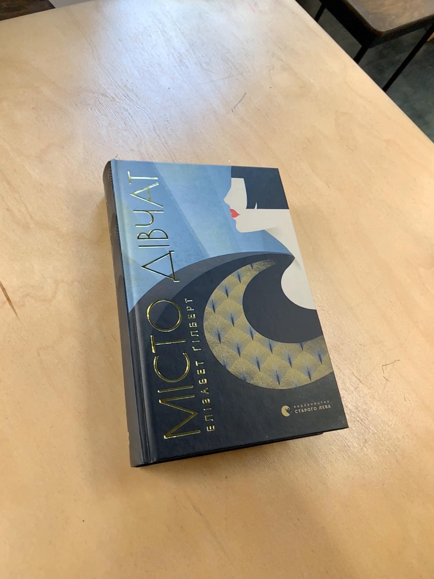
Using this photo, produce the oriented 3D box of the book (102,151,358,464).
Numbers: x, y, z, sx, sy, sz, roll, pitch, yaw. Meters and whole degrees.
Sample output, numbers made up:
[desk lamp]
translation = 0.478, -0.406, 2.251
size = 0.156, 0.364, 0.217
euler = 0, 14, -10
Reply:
[book]
translation = 0.000, 0.002, 0.307
size = 0.134, 0.043, 0.197
euler = -4, 69, -19
